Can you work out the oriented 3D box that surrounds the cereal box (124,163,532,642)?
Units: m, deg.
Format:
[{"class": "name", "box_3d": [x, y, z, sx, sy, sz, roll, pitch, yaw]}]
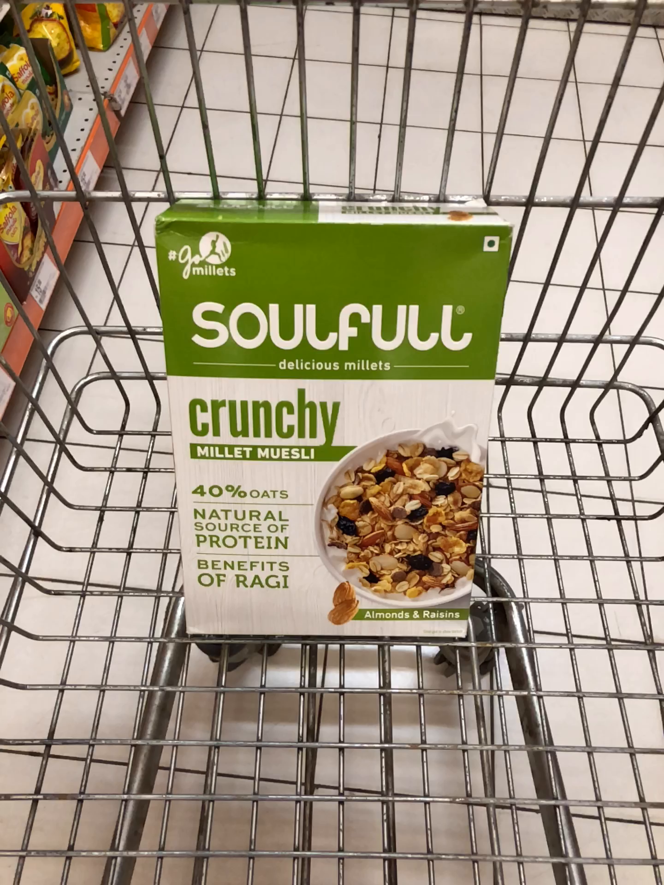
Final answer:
[{"class": "cereal box", "box_3d": [-0.004, -0.015, 0.386, 0.170, 0.239, 0.070, 1, 24, -1]}]
